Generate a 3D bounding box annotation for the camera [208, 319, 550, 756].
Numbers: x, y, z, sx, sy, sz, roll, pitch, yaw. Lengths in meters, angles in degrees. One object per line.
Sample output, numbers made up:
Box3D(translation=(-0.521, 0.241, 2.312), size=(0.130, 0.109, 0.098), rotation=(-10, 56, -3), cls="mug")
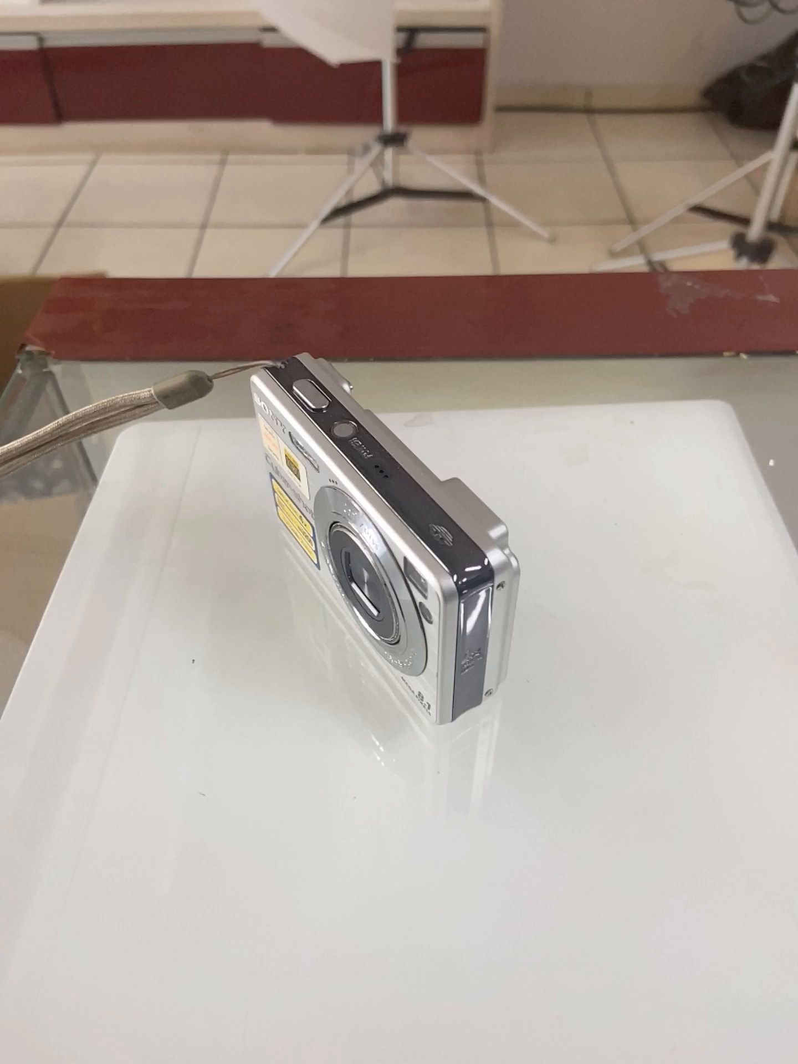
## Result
Box3D(translation=(-0.008, -0.001, 0.205), size=(0.030, 0.060, 0.090), rotation=(-27, 52, -23), cls="camera")
